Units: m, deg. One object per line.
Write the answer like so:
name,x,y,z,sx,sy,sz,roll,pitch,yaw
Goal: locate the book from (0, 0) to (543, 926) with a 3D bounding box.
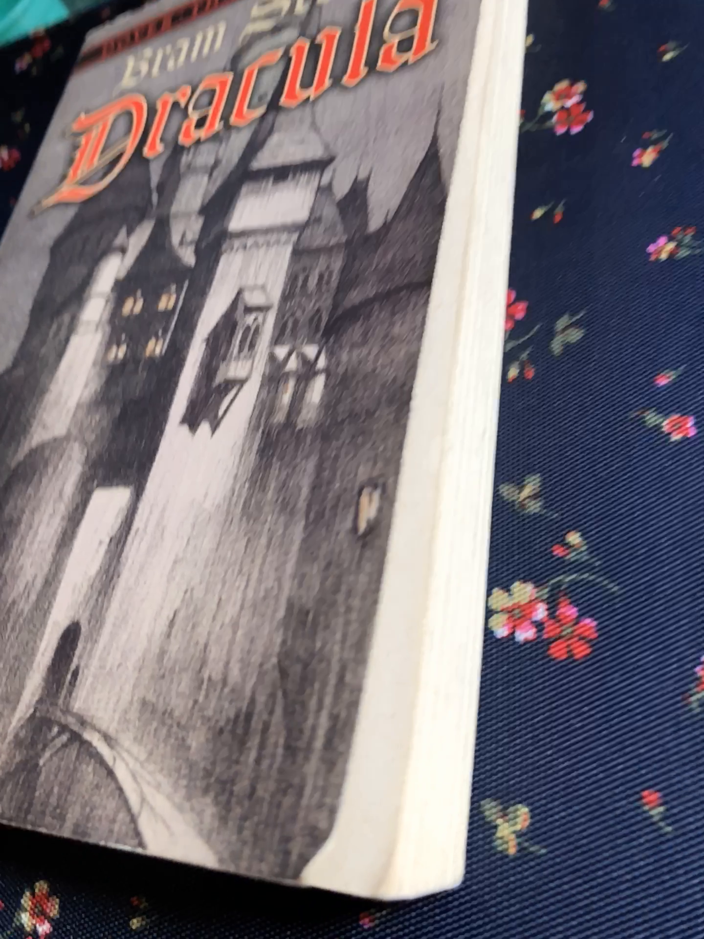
book,-0.033,-0.031,0.169,0.130,0.033,0.203,-5,61,29
